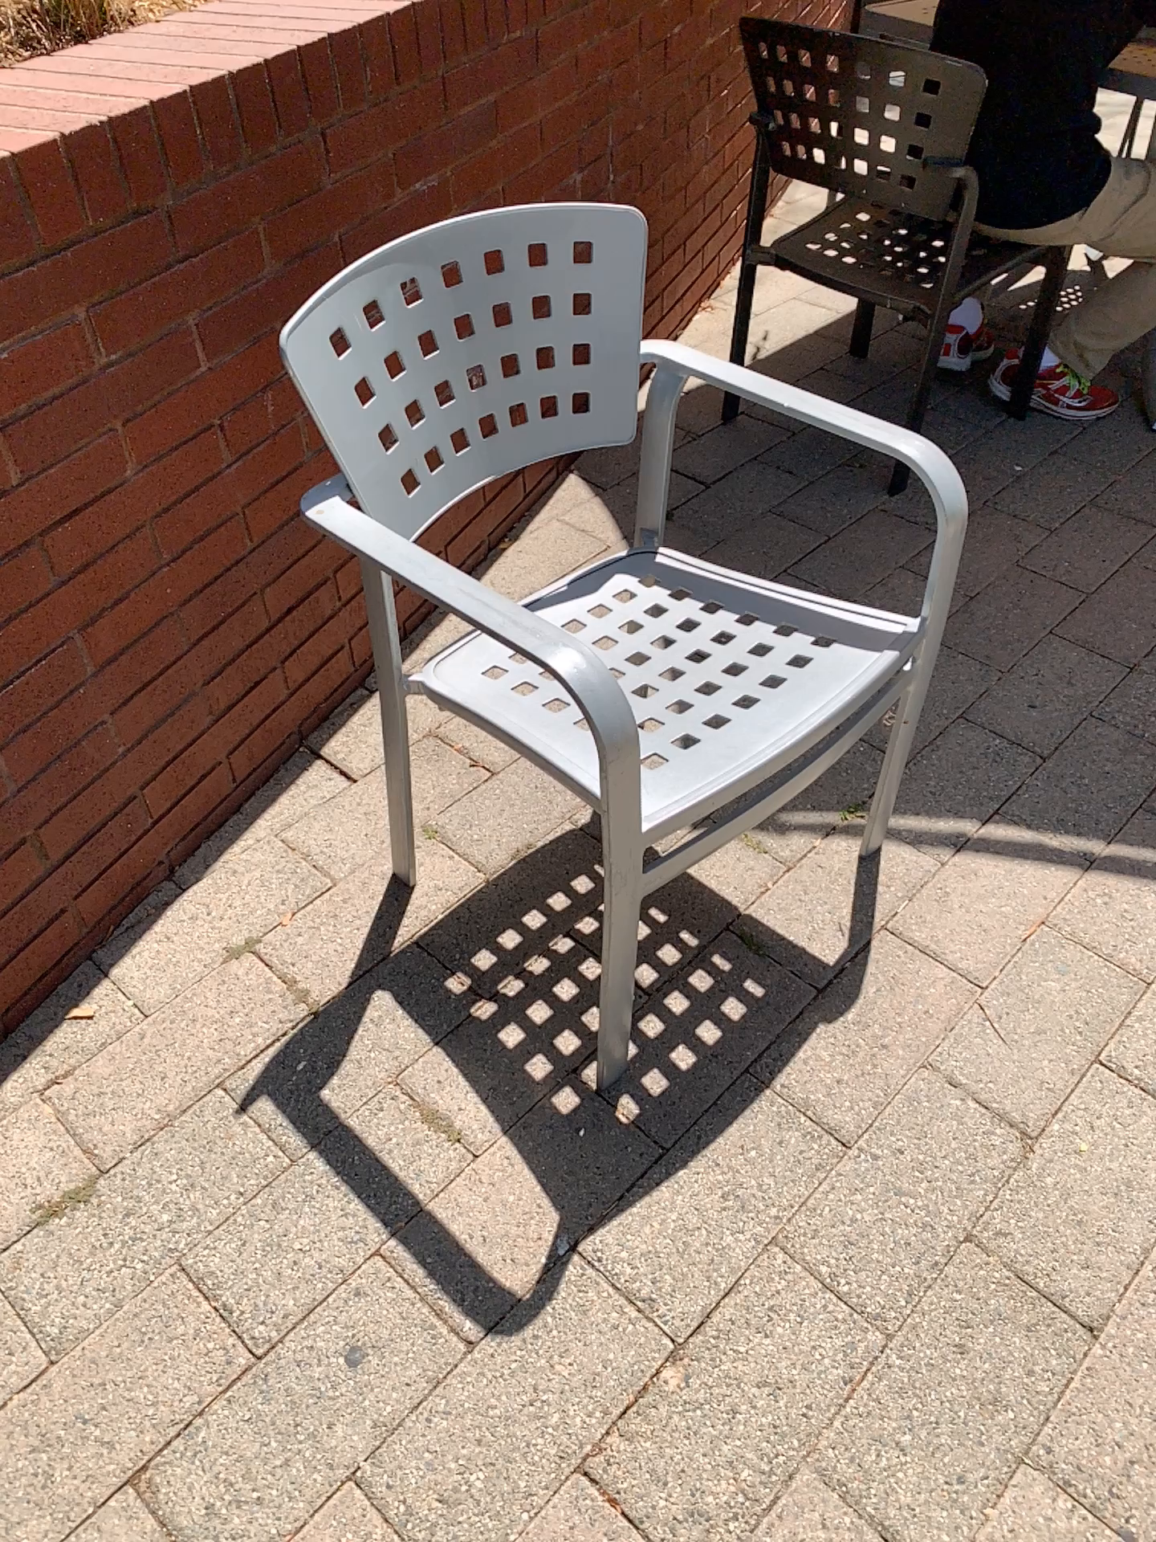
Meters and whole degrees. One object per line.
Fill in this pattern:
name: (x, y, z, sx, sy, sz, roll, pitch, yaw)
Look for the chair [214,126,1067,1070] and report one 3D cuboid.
chair: (0.068, -0.203, 1.284, 0.503, 0.698, 0.558, 32, 52, 32)
